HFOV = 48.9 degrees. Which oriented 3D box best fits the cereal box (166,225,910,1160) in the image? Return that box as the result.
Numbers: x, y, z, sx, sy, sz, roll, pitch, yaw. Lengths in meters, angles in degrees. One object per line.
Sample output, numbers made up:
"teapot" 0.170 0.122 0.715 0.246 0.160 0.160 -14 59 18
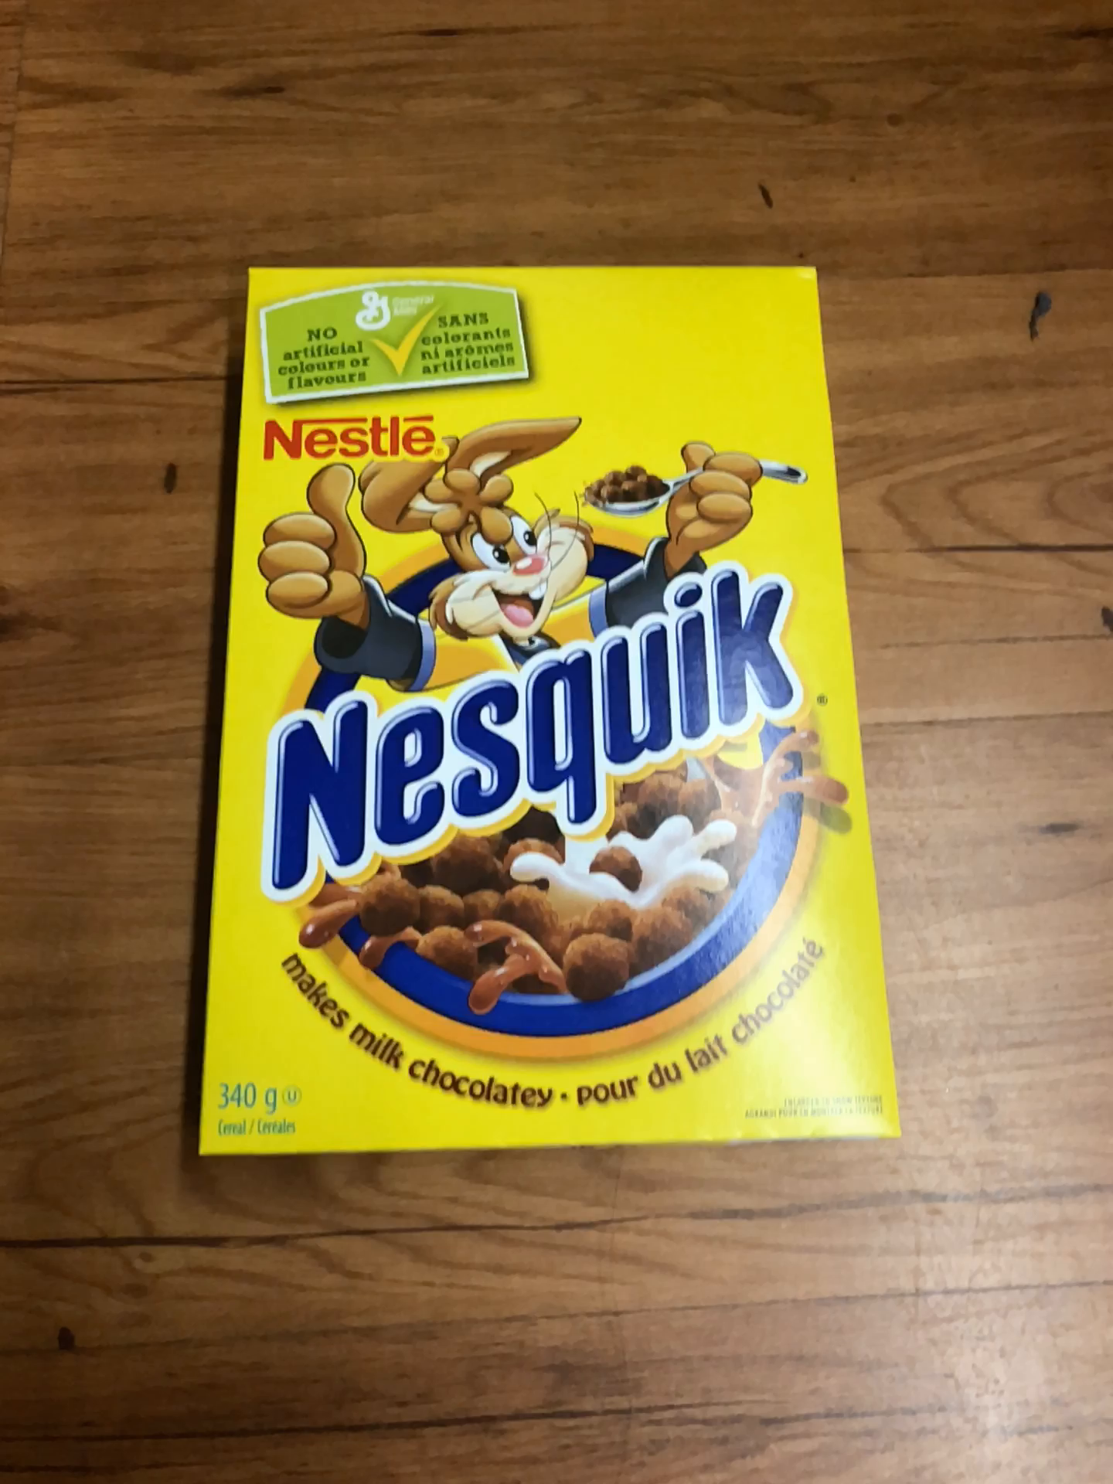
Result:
"cereal box" -0.009 -0.023 0.397 0.200 0.060 0.291 -1 74 -1
